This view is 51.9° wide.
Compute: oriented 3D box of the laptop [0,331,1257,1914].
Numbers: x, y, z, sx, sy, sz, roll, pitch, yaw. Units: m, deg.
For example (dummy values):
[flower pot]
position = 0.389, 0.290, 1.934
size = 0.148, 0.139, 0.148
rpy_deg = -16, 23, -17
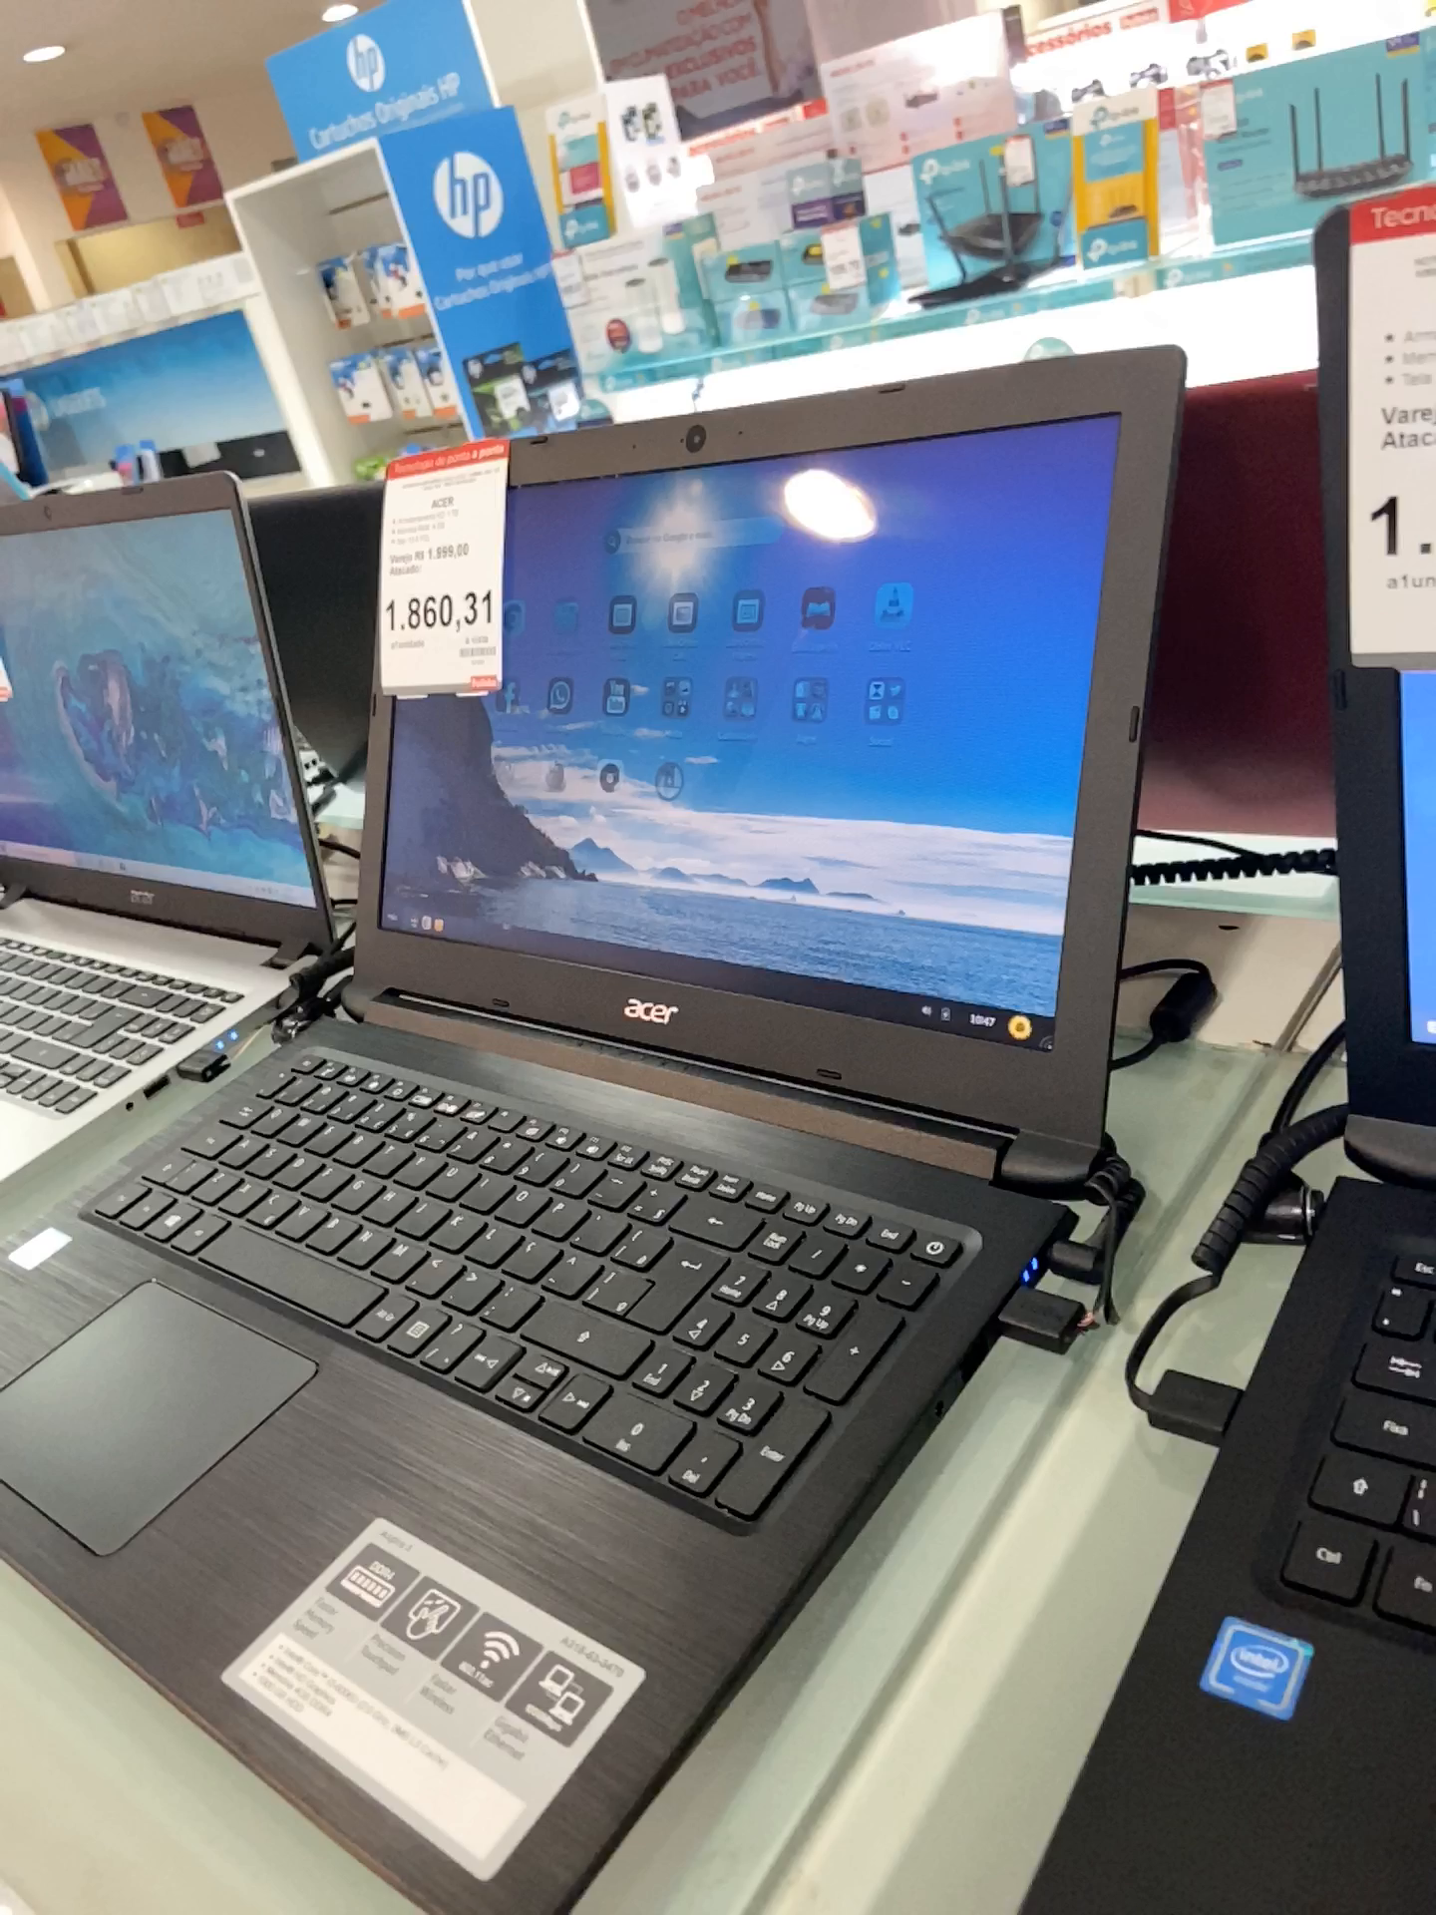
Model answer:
[laptop]
position = -0.095, -0.013, 0.480
size = 0.379, 0.215, 0.380
rpy_deg = 8, 36, 40
